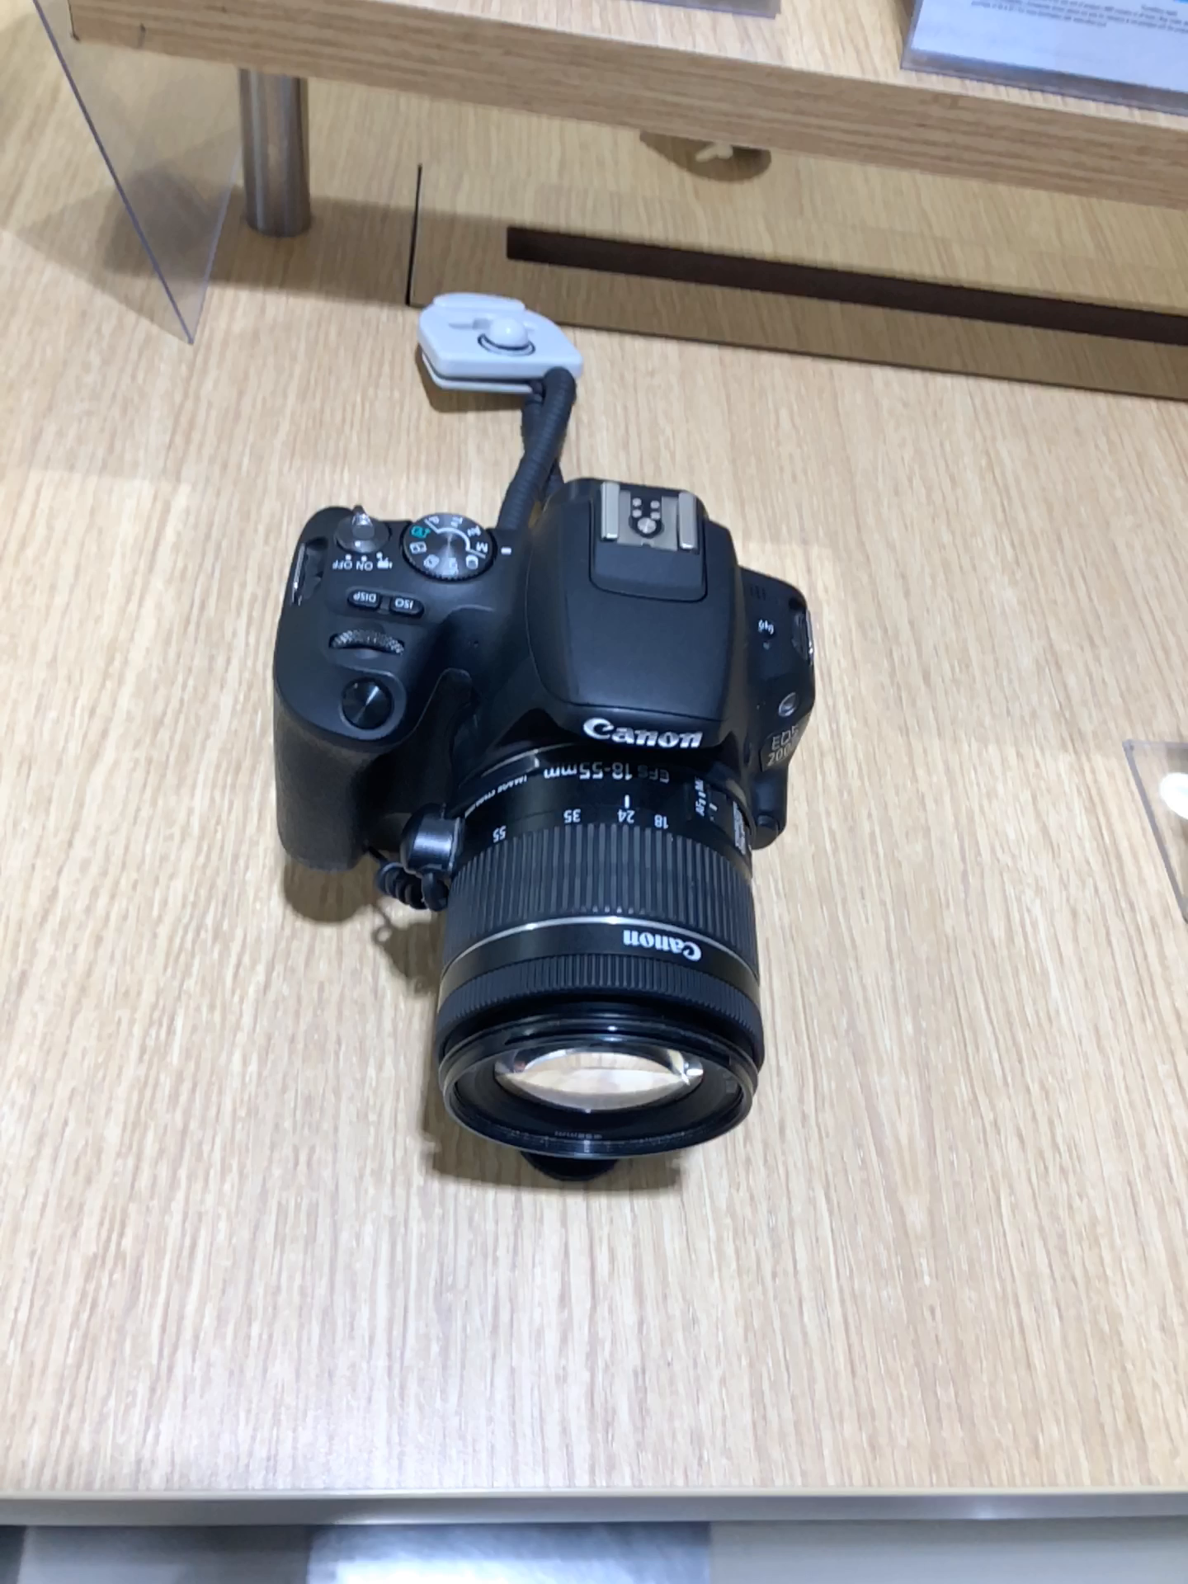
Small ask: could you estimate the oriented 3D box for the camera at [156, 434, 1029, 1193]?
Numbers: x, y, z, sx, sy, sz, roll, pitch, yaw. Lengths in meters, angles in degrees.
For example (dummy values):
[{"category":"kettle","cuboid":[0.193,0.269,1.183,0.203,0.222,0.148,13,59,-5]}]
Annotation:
[{"category":"camera","cuboid":[-0.004,0.006,0.260,0.130,0.080,0.115,5,54,-7]}]
